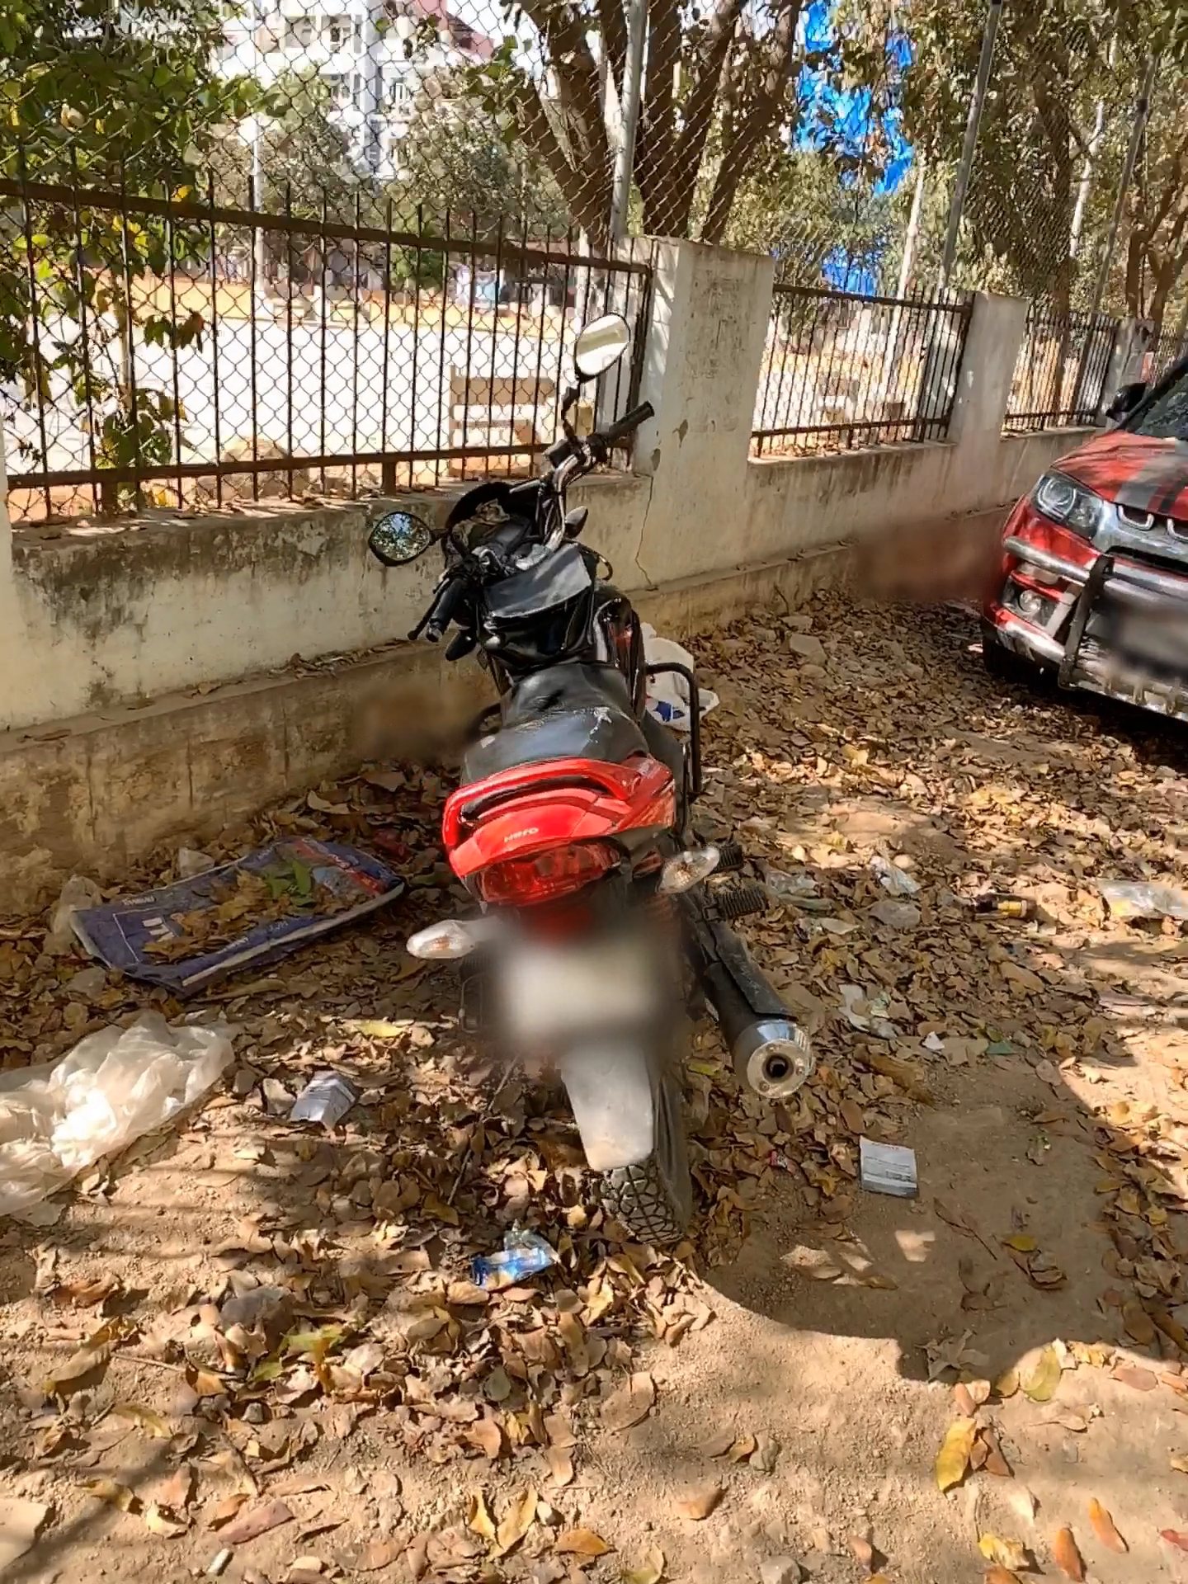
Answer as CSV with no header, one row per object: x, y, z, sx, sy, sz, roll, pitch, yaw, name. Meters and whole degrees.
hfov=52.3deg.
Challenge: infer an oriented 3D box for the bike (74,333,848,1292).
-0.225,-0.095,2.064,0.822,1.067,1.295,3,25,-7,bike
